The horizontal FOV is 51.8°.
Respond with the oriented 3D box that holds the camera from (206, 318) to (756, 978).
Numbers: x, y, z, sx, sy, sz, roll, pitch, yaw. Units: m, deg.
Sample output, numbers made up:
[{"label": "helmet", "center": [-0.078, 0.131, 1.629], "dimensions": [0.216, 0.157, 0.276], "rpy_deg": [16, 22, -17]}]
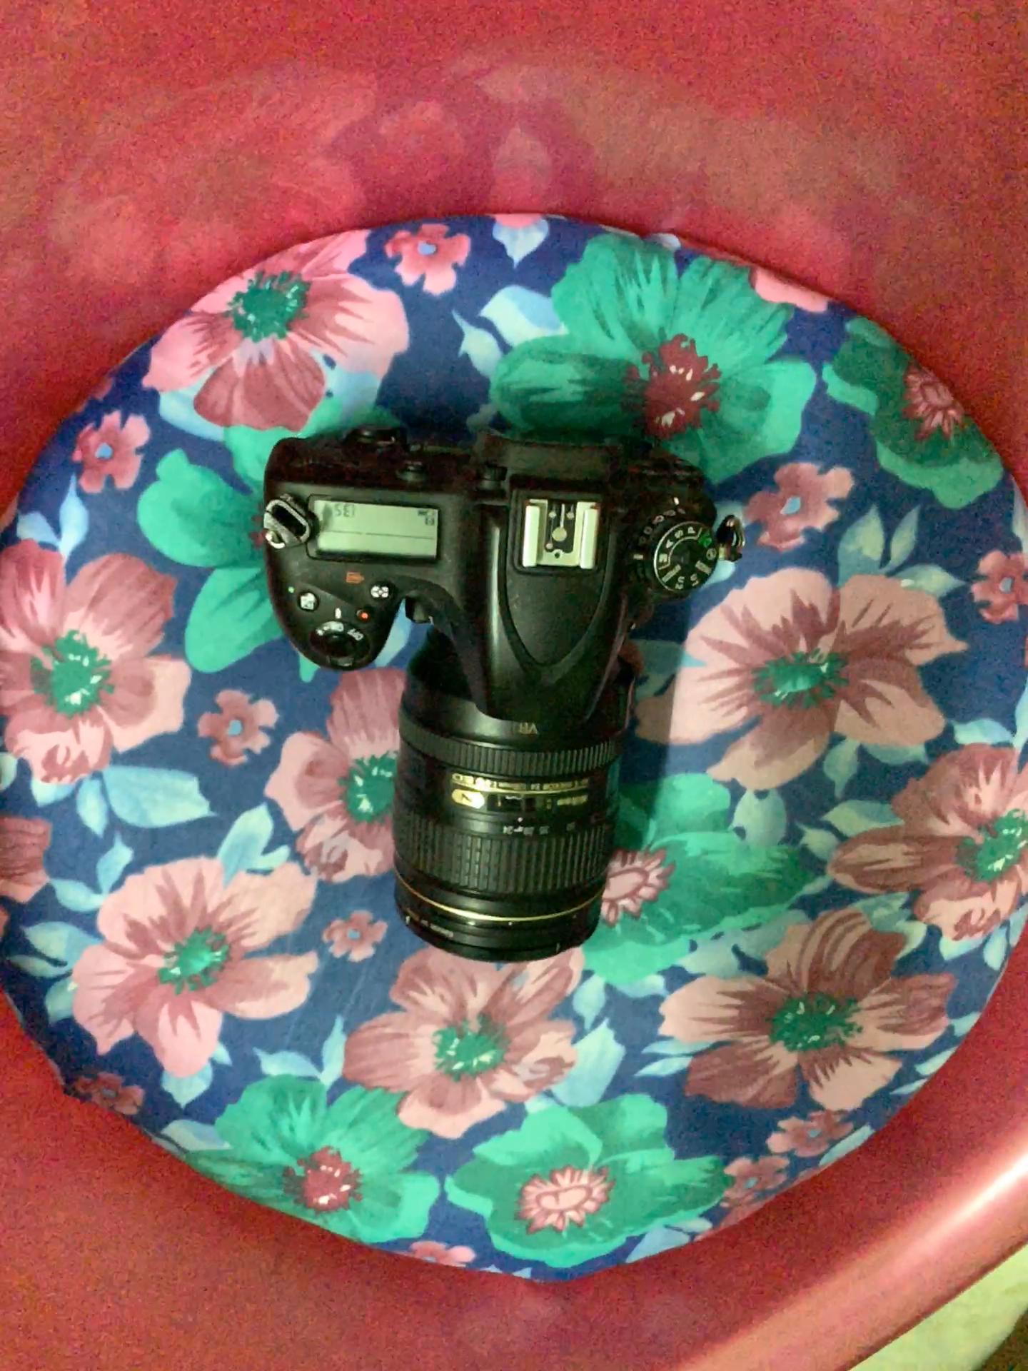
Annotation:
[{"label": "camera", "center": [-0.016, -0.017, 0.347], "dimensions": [0.140, 0.111, 0.180], "rpy_deg": [4, 106, -3]}]
